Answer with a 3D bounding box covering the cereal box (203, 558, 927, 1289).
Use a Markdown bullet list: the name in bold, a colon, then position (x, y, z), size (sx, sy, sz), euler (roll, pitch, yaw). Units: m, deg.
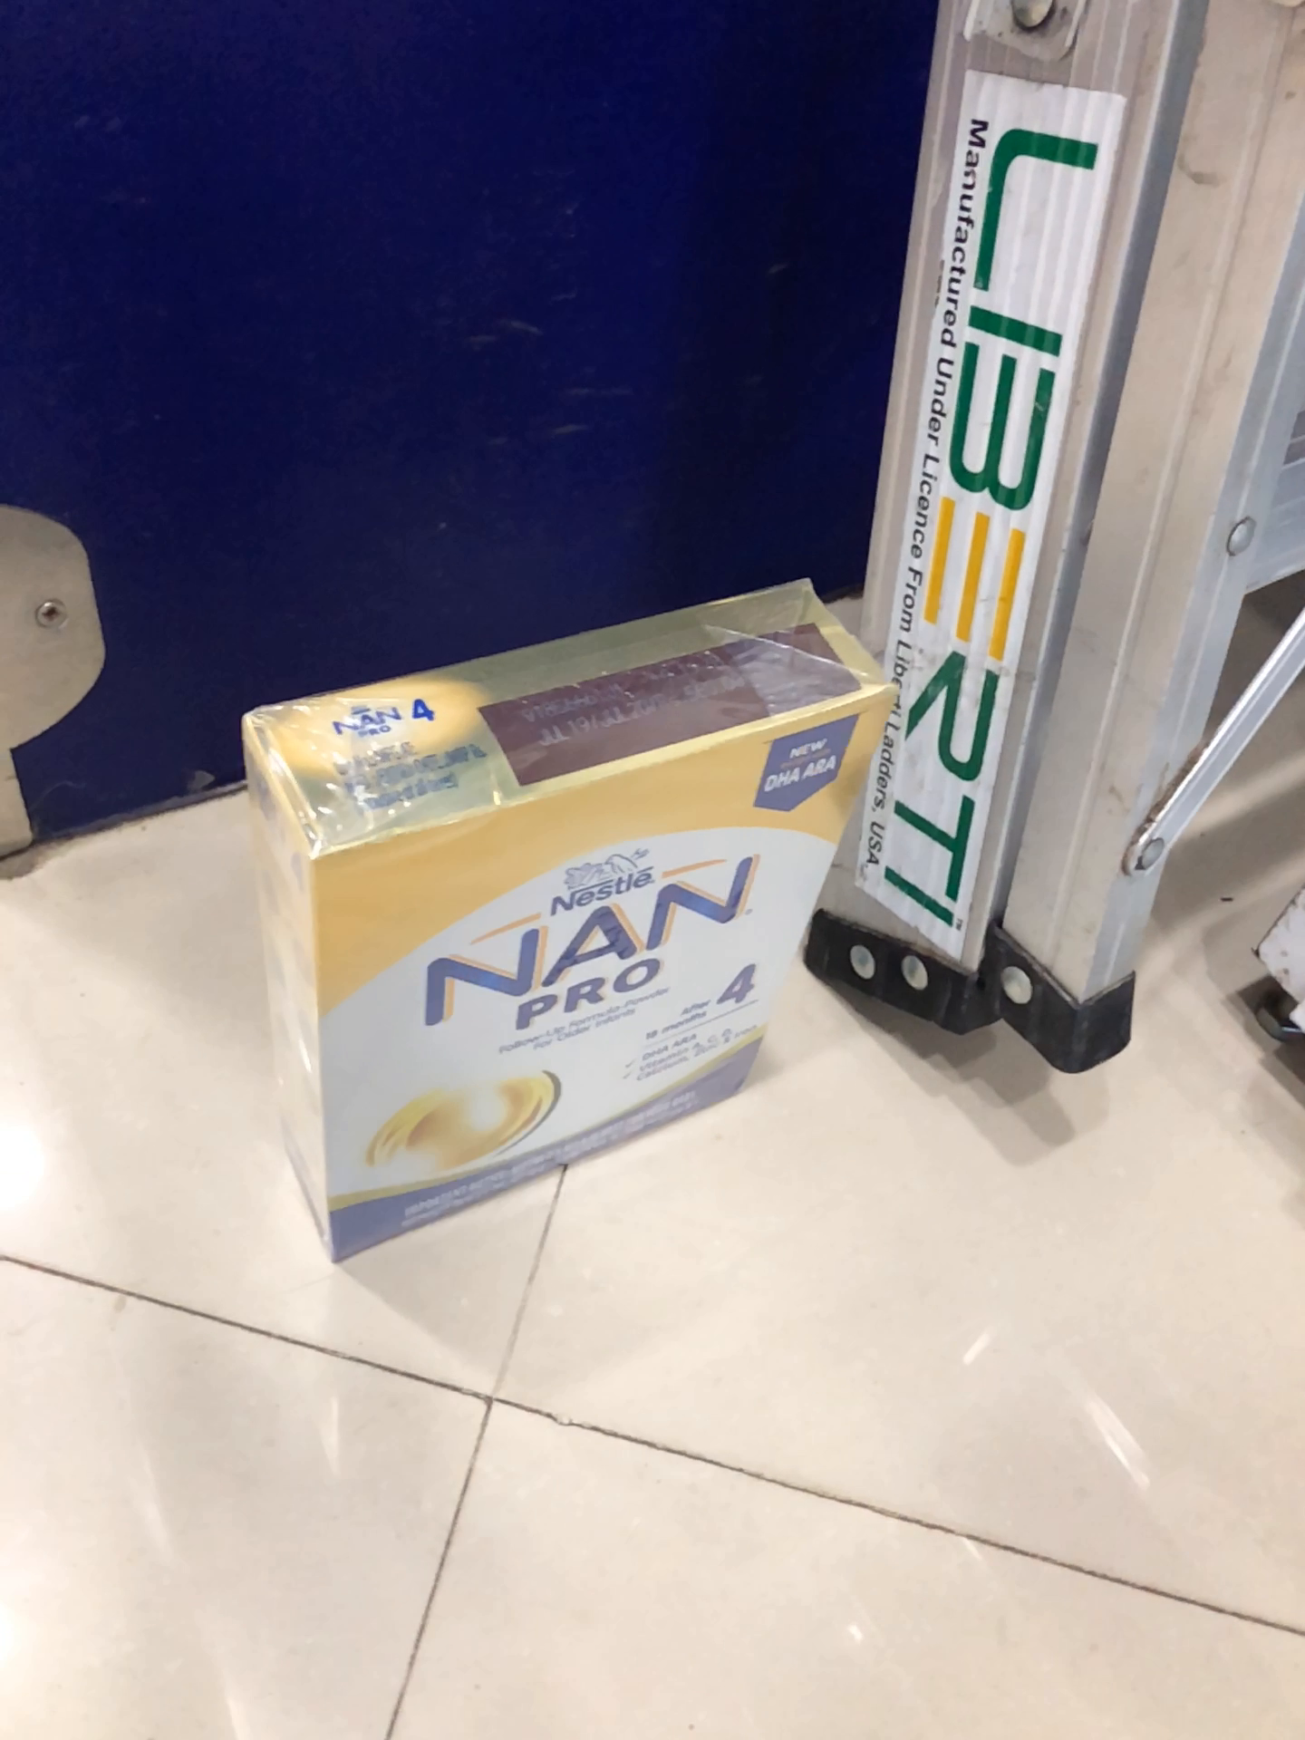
- **cereal box**: position (-0.031, 0.023, 0.426), size (0.171, 0.209, 0.050), euler (-18, 56, -24)
